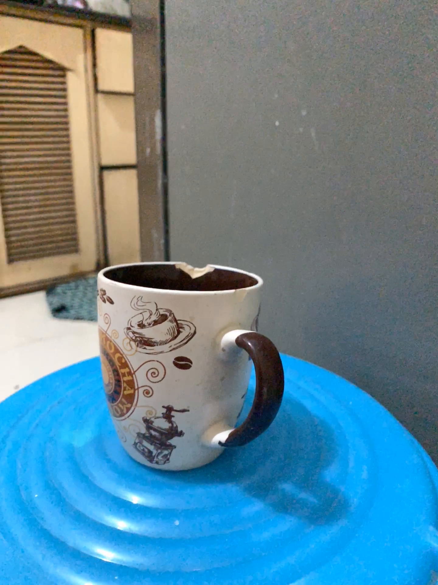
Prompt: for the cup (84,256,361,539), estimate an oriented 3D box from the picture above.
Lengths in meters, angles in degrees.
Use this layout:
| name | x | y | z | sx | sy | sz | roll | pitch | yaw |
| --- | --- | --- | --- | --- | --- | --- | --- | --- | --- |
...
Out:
| name | x | y | z | sx | sy | sz | roll | pitch | yaw |
| --- | --- | --- | --- | --- | --- | --- | --- | --- | --- |
| cup | -0.008 | 0.032 | 0.220 | 0.080 | 0.080 | 0.110 | -5 | 15 | -32 |
